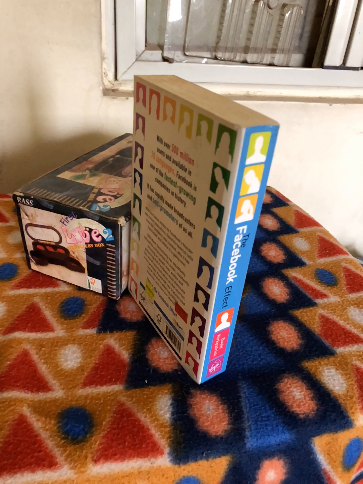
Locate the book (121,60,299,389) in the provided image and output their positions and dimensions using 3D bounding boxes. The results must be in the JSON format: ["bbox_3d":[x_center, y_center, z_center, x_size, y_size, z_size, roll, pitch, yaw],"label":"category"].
[{"bbox_3d":[0.004,-0.016,0.326,0.040,0.219,0.150,-16,38,-27],"label":"book"}]
